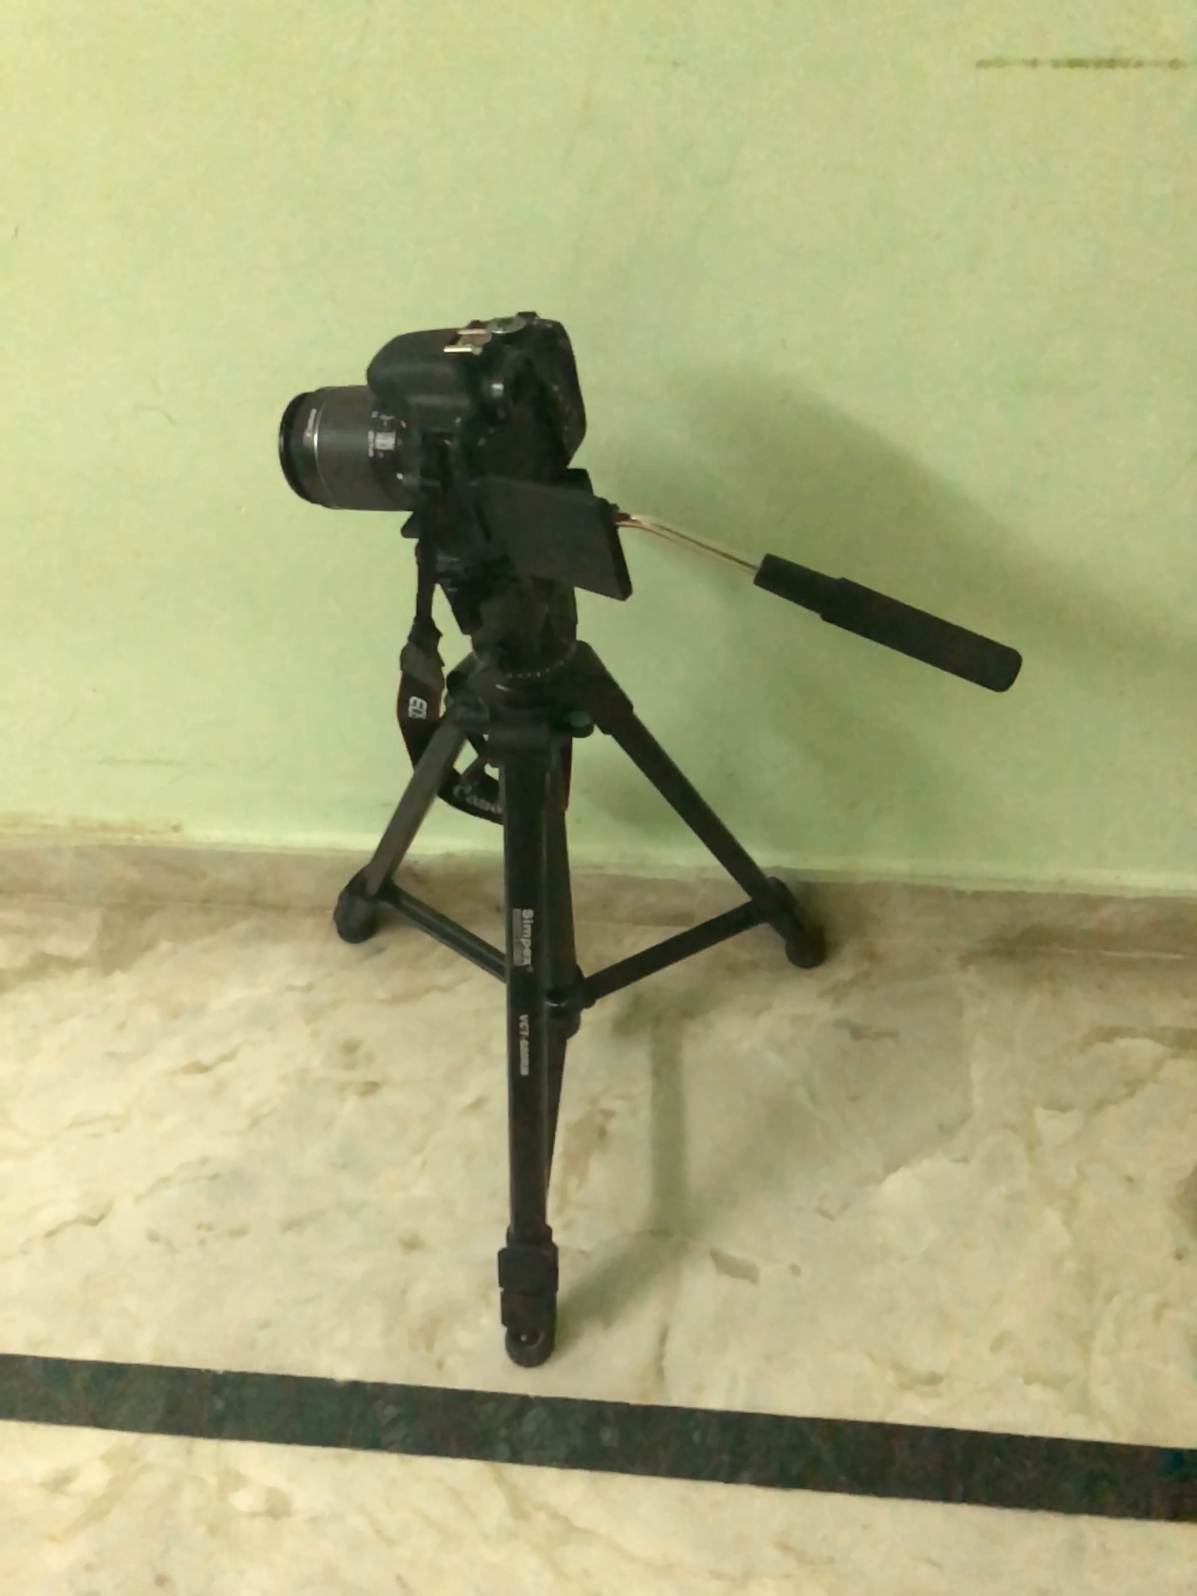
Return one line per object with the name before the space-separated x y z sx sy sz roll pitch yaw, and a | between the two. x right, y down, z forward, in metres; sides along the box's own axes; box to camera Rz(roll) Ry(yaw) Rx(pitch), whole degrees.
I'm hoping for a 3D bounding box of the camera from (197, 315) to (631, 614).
camera | -0.095 -0.190 0.736 0.190 0.099 0.131 6 49 16
